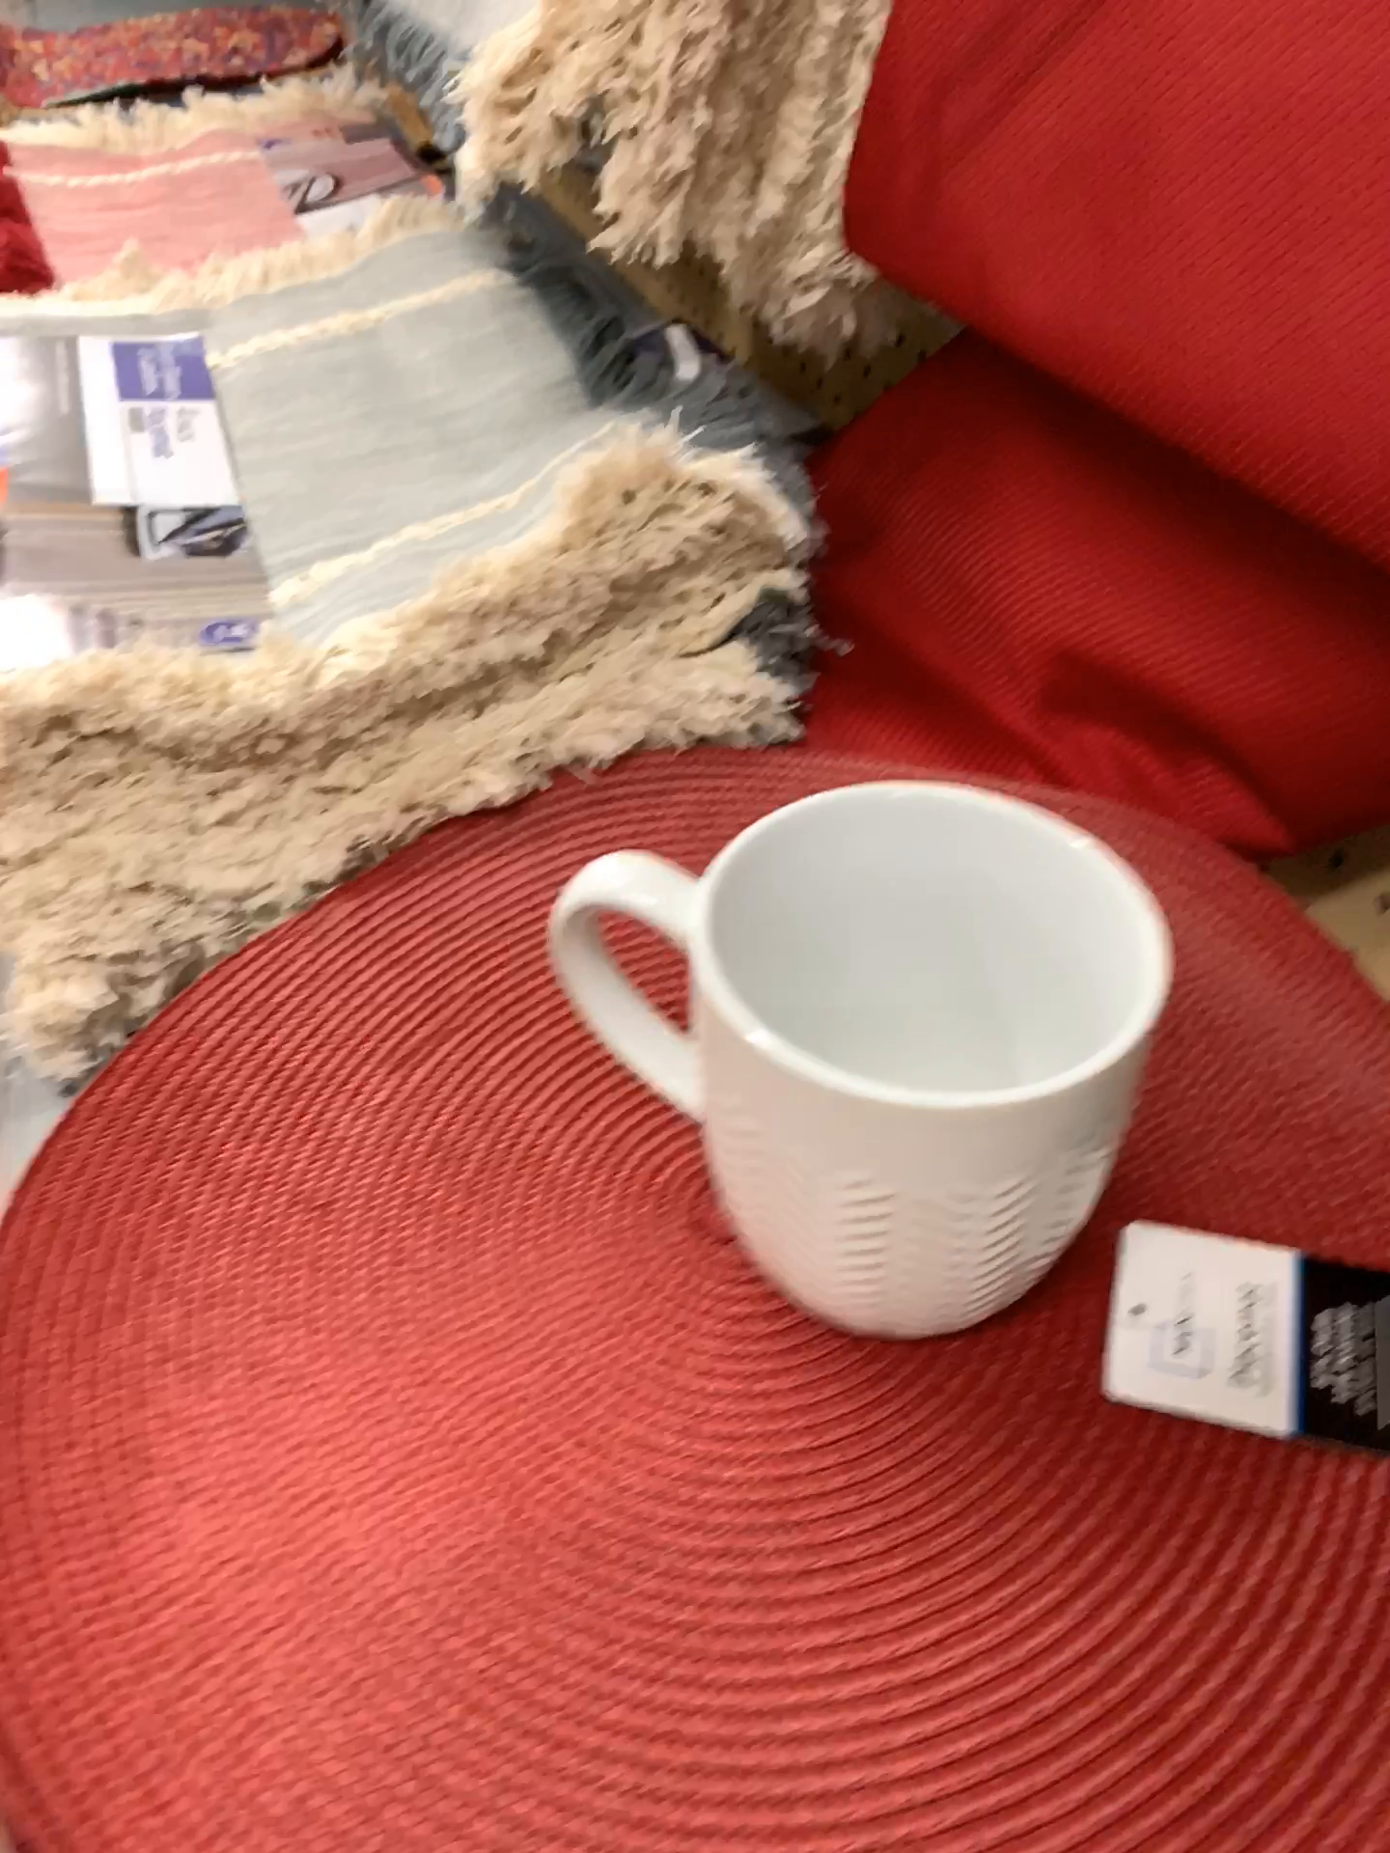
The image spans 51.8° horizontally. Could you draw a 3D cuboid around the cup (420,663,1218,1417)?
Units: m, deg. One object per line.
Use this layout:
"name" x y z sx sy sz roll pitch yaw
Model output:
"cup" 0.027 0.016 0.321 0.140 0.090 0.100 18 34 18
